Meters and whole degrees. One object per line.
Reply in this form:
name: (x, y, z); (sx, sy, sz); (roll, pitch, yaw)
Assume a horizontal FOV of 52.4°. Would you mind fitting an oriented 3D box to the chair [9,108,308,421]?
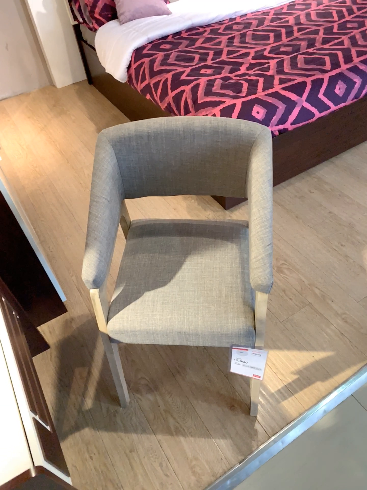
chair: (0.000, 0.100, 1.174); (0.560, 0.797, 0.582); (0, 48, 7)
